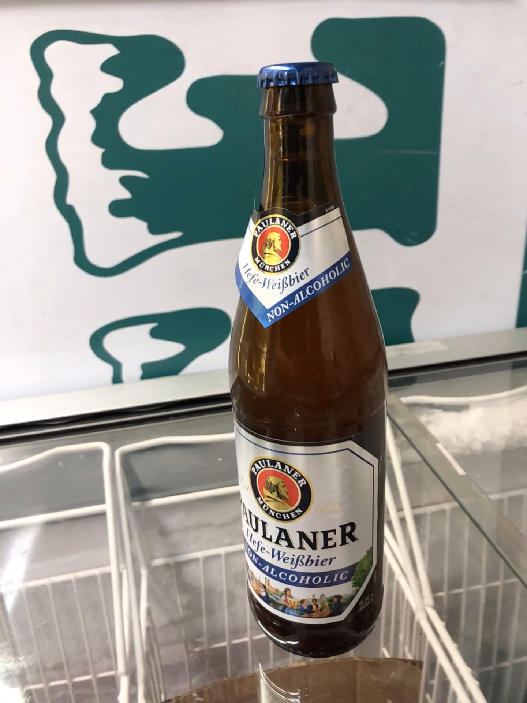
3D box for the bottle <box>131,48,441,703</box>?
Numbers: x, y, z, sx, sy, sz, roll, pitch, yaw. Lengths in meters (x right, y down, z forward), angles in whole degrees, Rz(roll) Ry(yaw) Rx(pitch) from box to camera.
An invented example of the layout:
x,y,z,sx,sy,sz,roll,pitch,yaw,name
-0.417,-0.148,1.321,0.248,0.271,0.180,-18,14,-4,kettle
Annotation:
x,y,z,sx,sy,sz,roll,pitch,yaw,name
0.016,0.017,0.245,0.080,0.248,0.070,11,26,31,bottle
